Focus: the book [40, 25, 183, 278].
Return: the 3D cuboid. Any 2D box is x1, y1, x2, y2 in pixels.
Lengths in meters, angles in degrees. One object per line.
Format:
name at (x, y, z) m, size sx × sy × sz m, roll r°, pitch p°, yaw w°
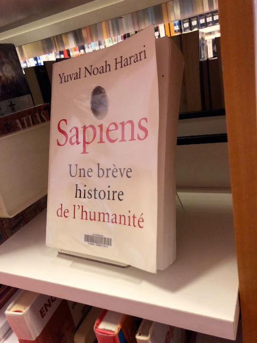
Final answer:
book at (-0.028, -0.021, 0.345) m, size 0.177 × 0.244 × 0.052 m, roll 0°, pitch -1°, yaw 35°
